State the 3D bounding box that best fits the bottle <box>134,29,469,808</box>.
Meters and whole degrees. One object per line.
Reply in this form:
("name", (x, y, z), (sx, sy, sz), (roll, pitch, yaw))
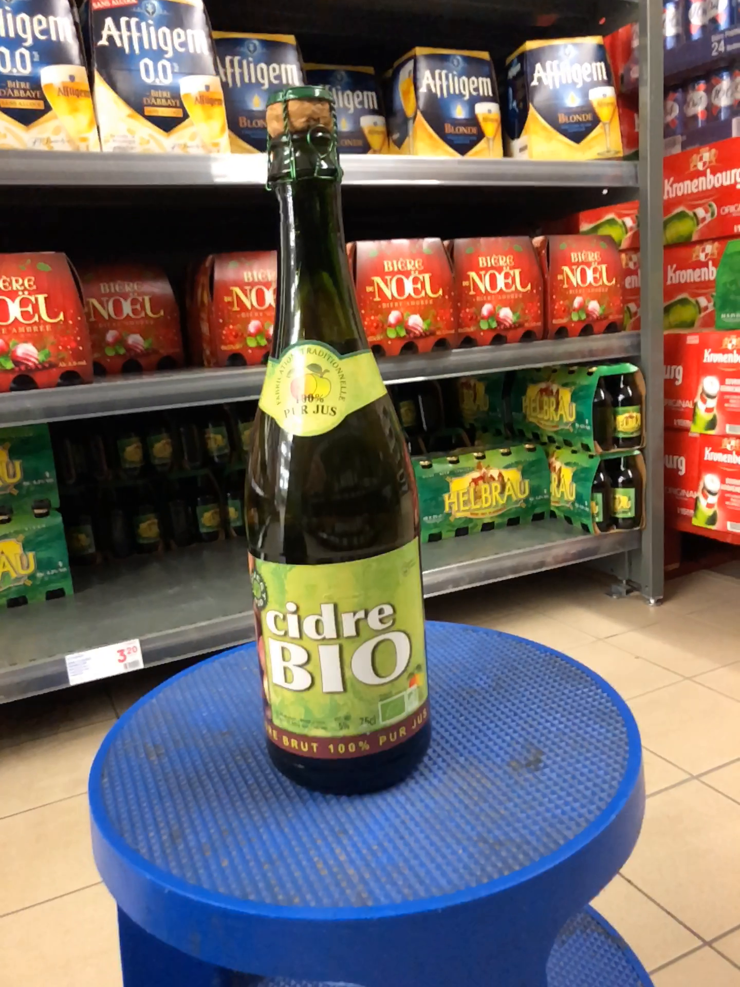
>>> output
("bottle", (-0.020, -0.025, 0.360), (0.090, 0.289, 0.090), (-4, 11, 1))
